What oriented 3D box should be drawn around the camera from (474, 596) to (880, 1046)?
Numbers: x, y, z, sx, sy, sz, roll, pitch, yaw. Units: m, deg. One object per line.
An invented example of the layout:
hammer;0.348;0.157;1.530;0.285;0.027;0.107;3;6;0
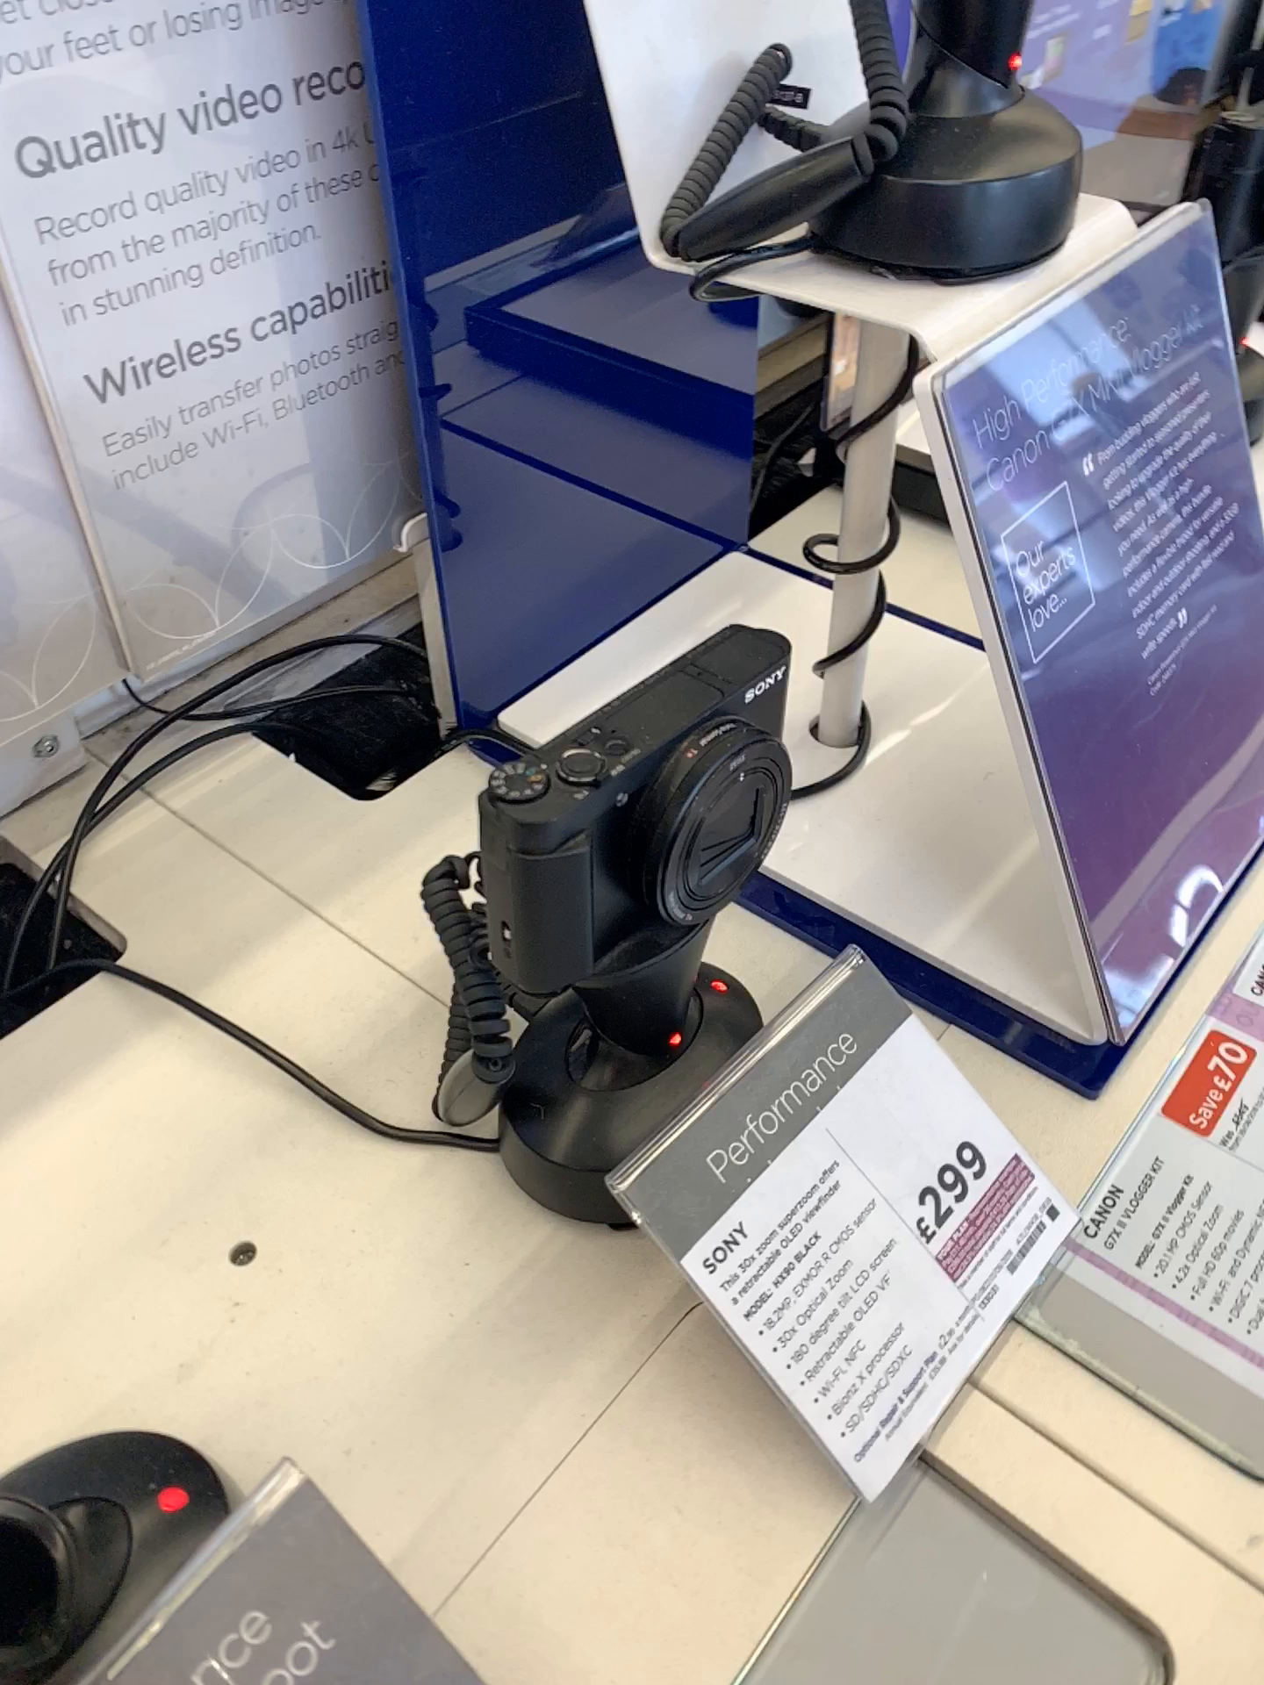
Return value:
camera;0.013;-0.009;0.322;0.040;0.059;0.101;30;49;29
